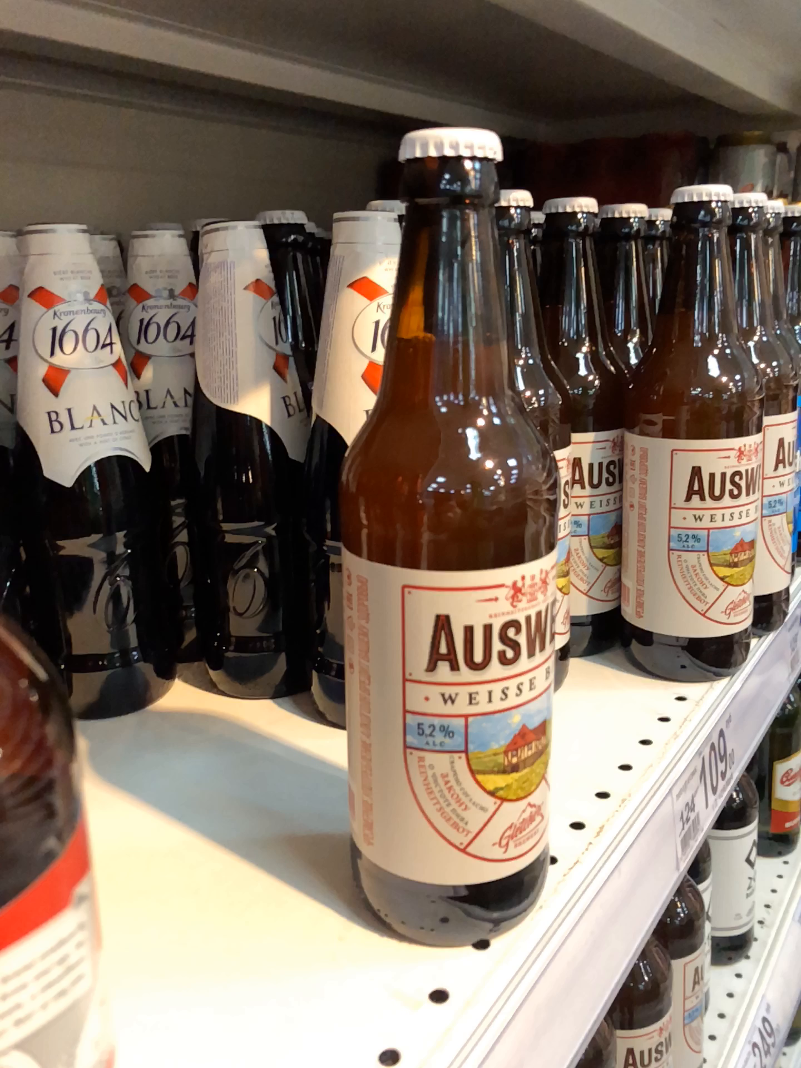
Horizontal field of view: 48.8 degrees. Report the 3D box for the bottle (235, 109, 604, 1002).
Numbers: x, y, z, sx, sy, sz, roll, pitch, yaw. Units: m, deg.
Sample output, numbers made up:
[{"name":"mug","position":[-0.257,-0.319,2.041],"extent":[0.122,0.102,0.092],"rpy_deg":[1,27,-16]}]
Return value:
[{"name":"bottle","position":[0.010,0.007,0.286],"extent":[0.080,0.249,0.070],"rpy_deg":[-15,20,-40]}]
